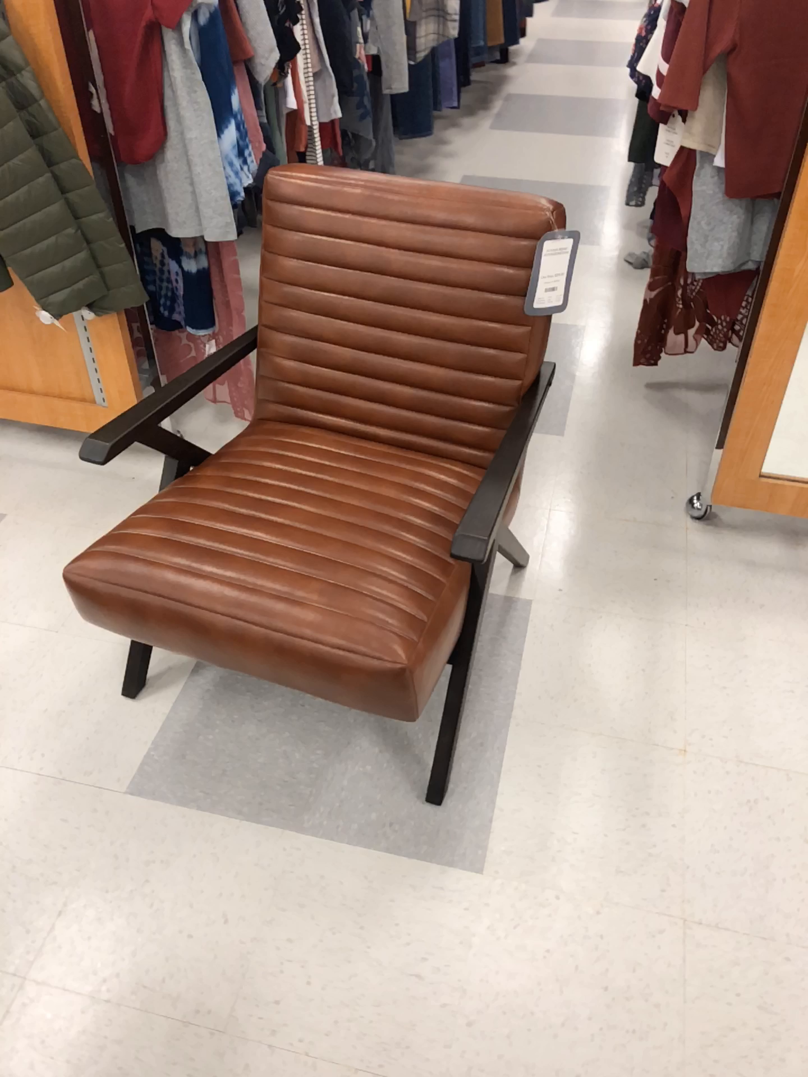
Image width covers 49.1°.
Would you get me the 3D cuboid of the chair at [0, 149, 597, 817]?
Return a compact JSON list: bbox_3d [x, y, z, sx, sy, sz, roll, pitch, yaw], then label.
[{"bbox_3d":[-0.130,-0.128,1.505,0.676,0.756,0.681,14,43,17],"label":"chair"}]
